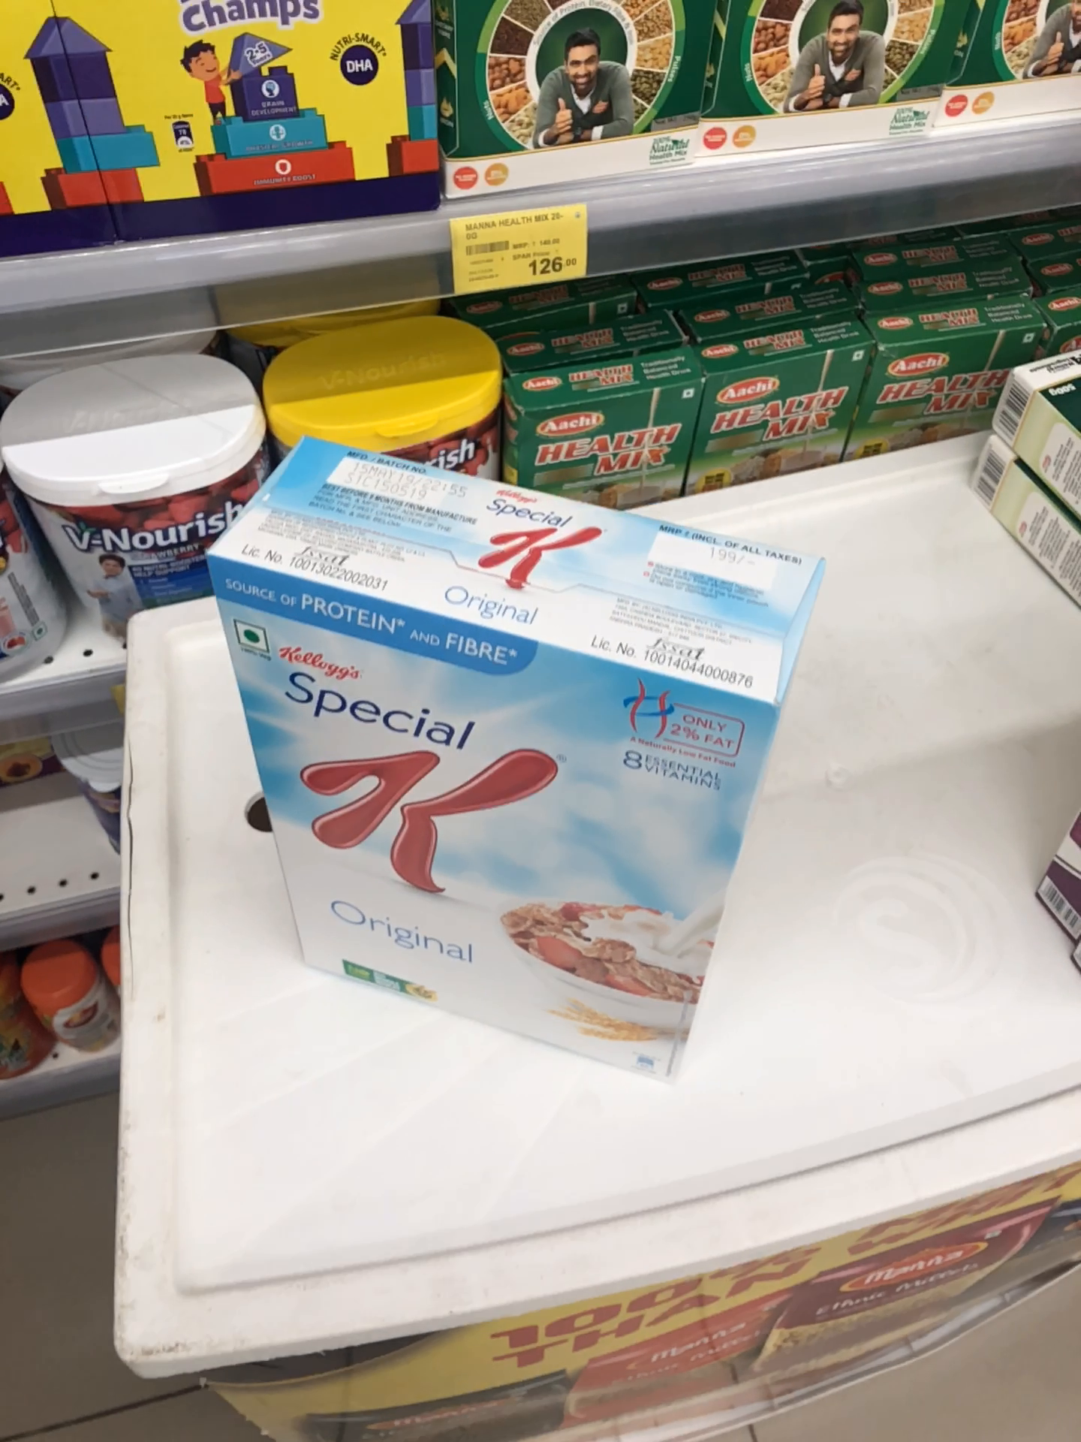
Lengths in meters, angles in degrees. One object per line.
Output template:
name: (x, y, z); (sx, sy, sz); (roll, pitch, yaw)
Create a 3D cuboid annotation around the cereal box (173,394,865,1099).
cereal box: (-0.009, 0.027, 0.451); (0.190, 0.259, 0.070); (16, 51, 10)
